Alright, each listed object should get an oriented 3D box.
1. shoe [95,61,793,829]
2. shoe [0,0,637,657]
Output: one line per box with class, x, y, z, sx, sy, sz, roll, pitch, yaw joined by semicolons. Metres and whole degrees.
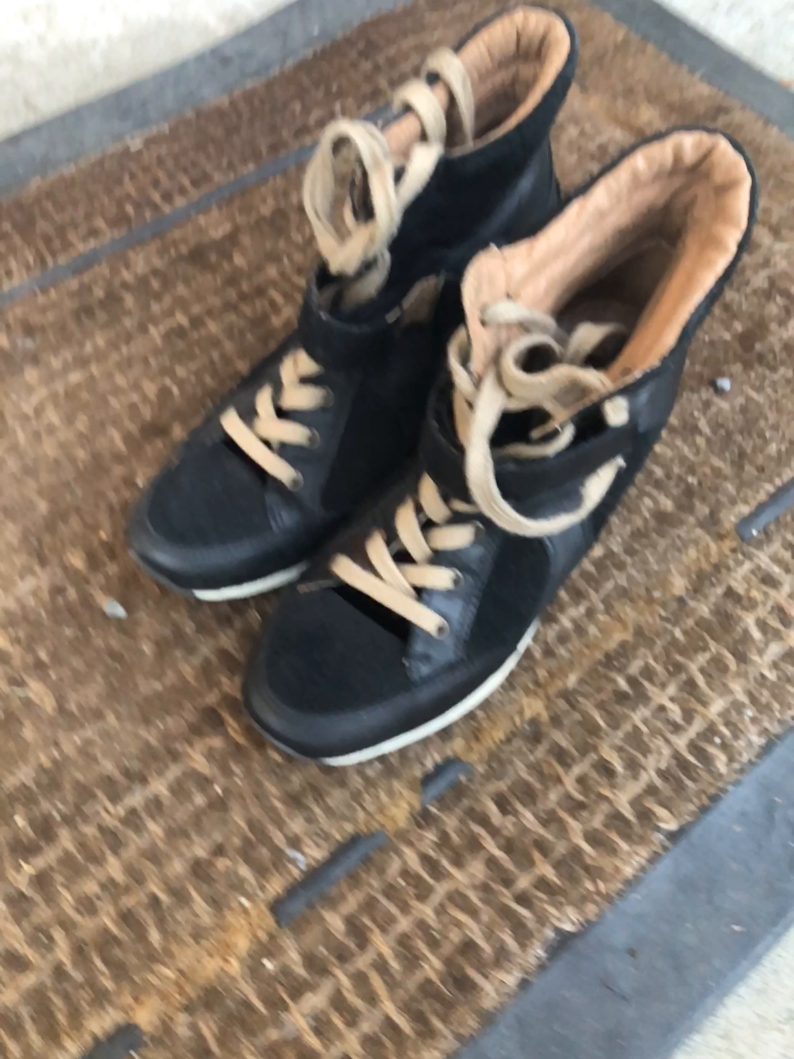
shoe;0.036;-0.028;0.330;0.090;0.159;0.240;39;67;20
shoe;-0.024;-0.086;0.362;0.090;0.159;0.230;39;67;20
